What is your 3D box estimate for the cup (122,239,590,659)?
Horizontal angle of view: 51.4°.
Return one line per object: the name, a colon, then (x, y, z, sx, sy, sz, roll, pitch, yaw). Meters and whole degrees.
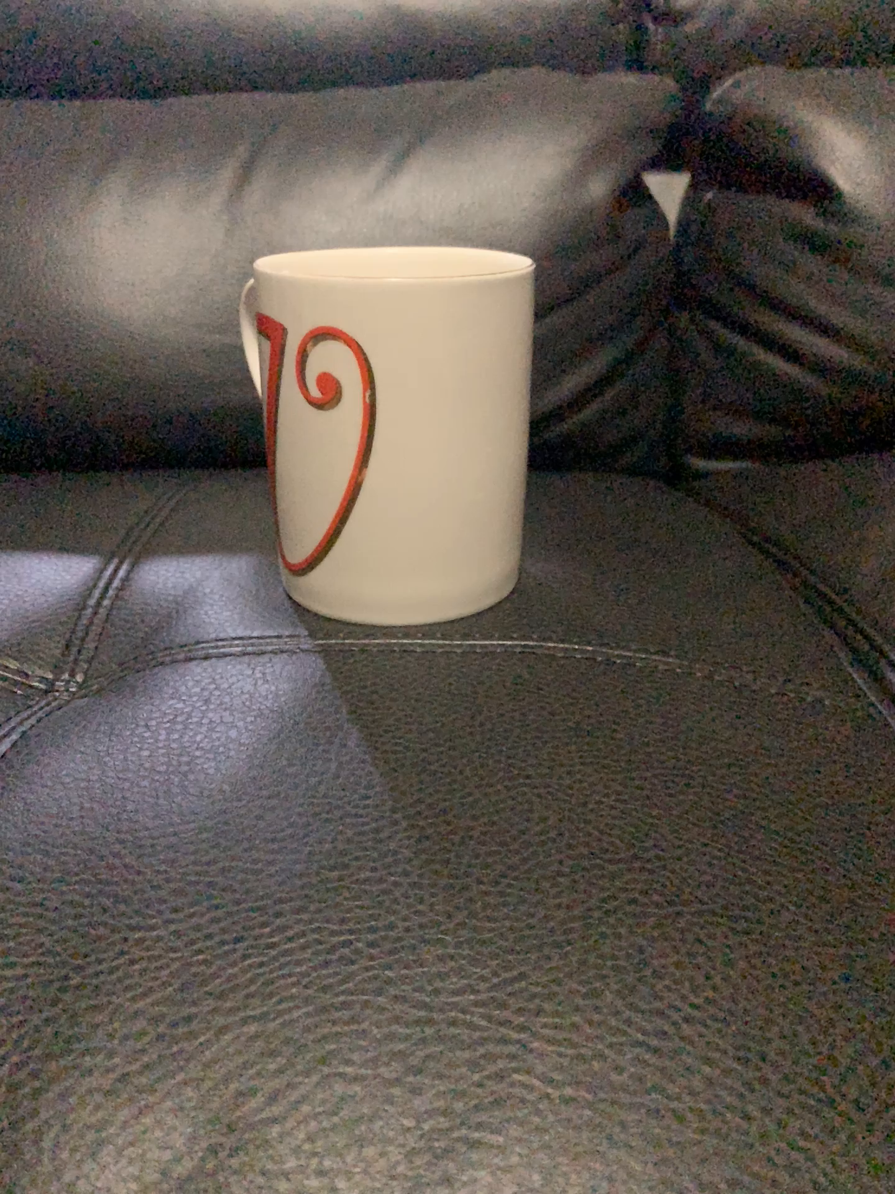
cup: (-0.036, -0.065, 0.329, 0.098, 0.106, 0.139, -16, 28, -32)
